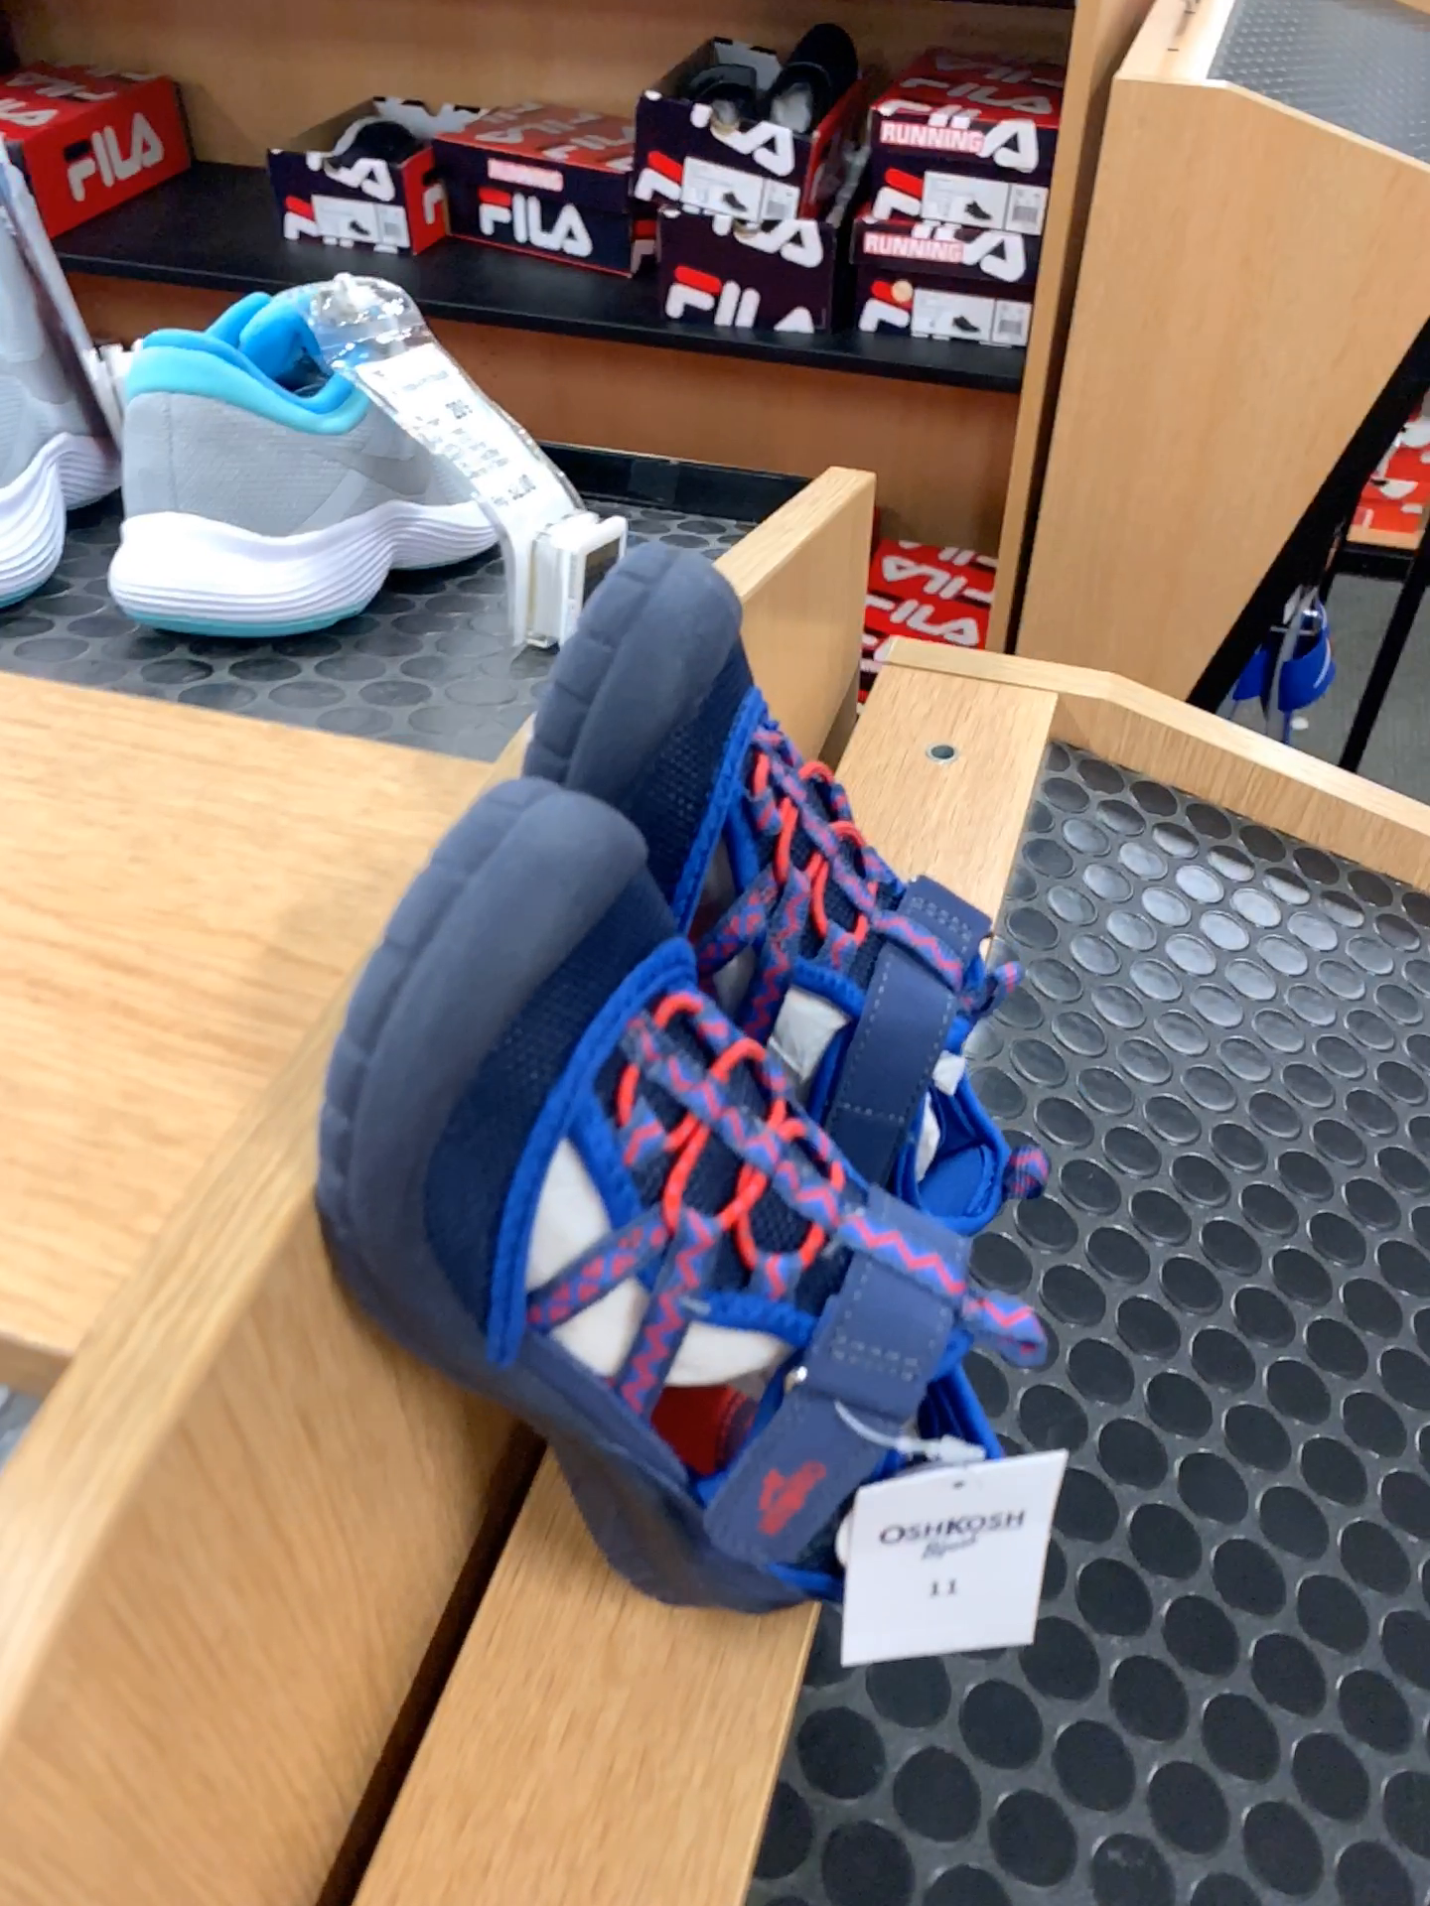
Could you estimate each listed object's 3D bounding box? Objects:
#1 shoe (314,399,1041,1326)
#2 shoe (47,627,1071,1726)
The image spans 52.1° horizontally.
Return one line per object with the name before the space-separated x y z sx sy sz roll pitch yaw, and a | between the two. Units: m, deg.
shoe | 0.007 -0.008 0.330 0.080 0.189 0.080 -5 40 27
shoe | -0.009 0.050 0.273 0.100 0.189 0.080 -3 40 28
